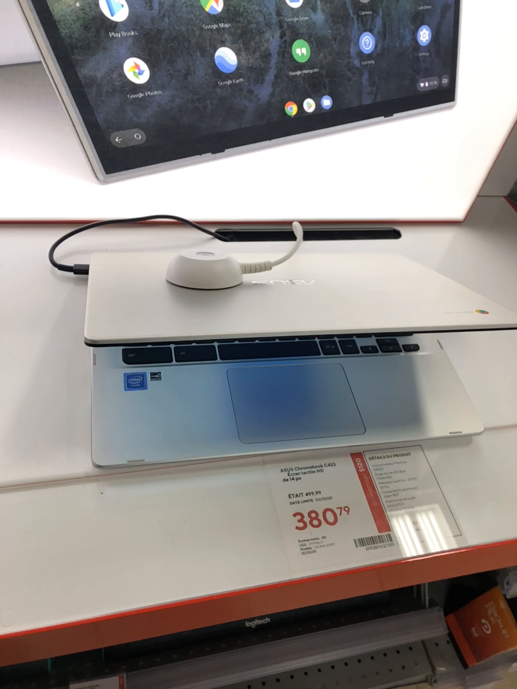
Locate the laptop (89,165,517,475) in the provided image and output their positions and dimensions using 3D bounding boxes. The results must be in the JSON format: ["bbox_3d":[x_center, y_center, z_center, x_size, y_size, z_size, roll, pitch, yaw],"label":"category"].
[{"bbox_3d":[0.030,-0.035,0.464,0.317,0.100,0.226,-2,48,-15],"label":"laptop"}]
